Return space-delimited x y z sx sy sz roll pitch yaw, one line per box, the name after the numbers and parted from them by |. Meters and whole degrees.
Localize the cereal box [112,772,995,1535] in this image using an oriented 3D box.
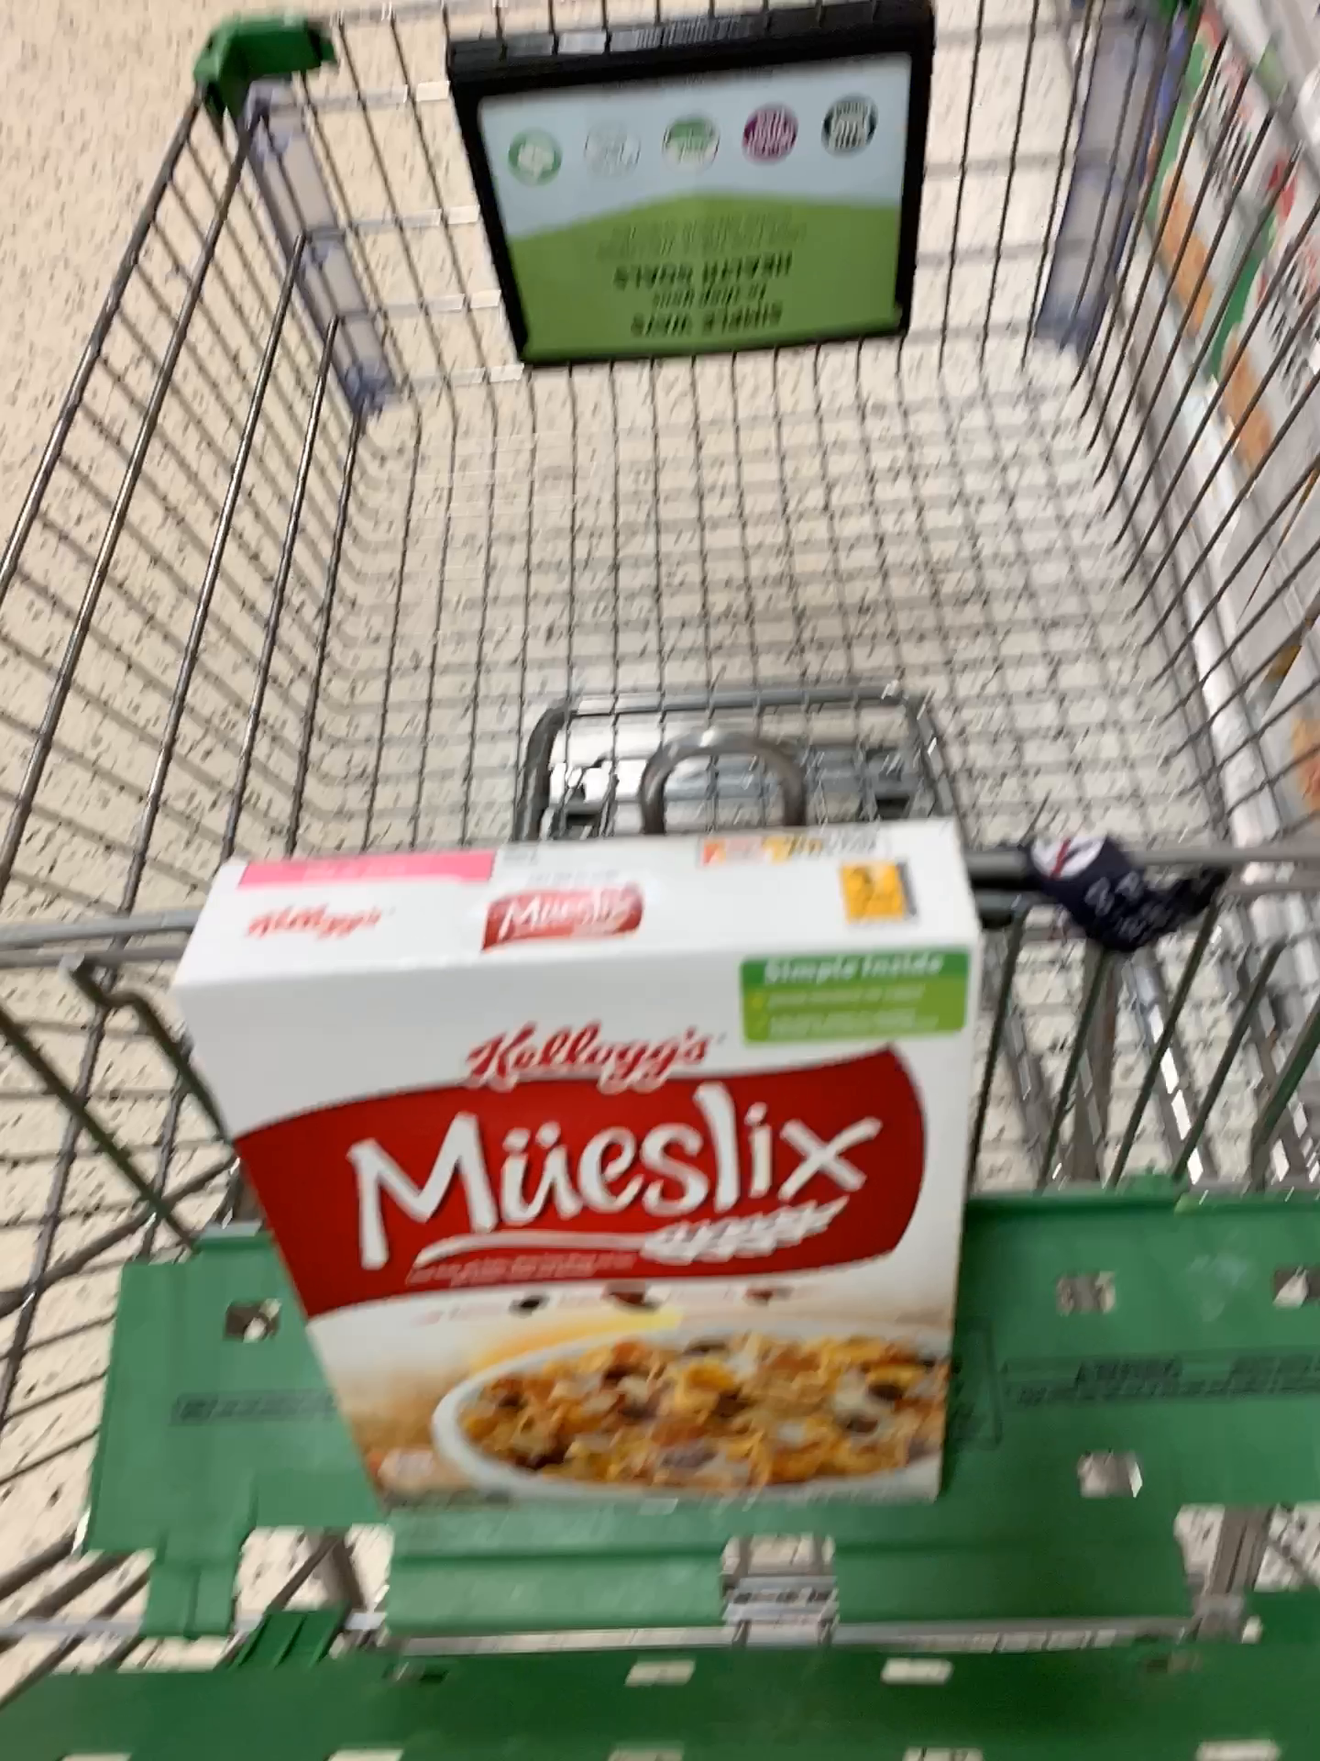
-0.016 0.101 0.409 0.200 0.268 0.060 -3 38 3 | cereal box
